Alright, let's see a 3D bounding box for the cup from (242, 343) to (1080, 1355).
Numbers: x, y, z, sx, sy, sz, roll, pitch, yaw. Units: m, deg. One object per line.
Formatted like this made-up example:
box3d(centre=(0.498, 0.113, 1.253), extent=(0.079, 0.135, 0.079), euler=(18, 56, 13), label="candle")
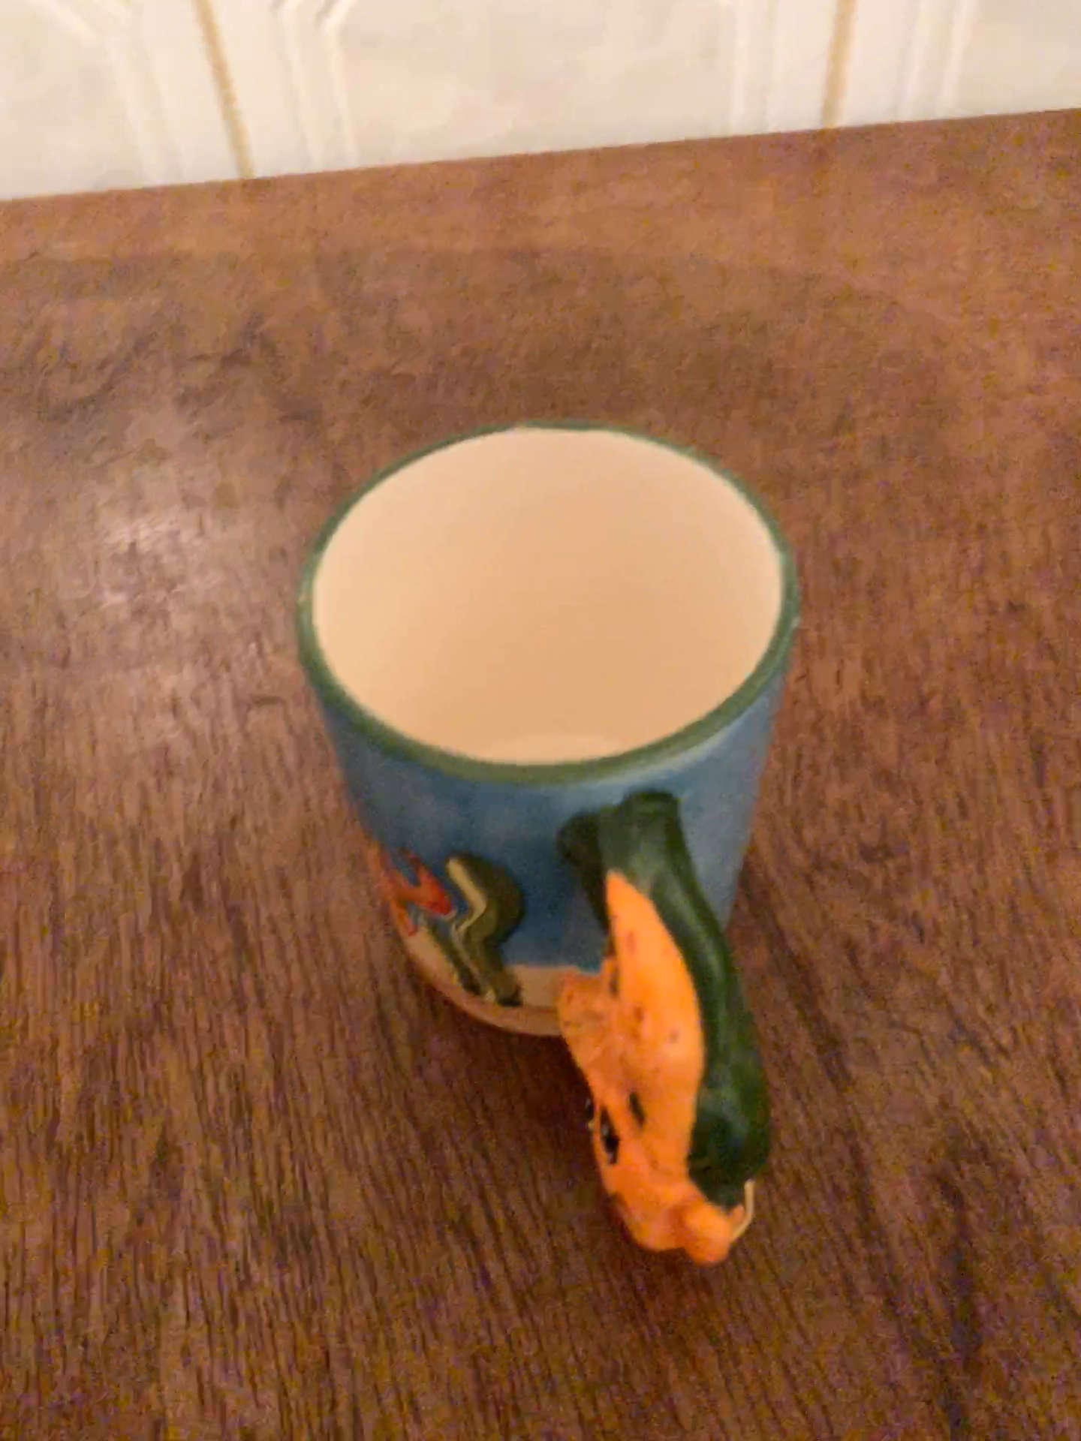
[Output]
box3d(centre=(0.009, 0.020, 0.200), extent=(0.080, 0.100, 0.131), euler=(-16, 53, -9), label="cup")
